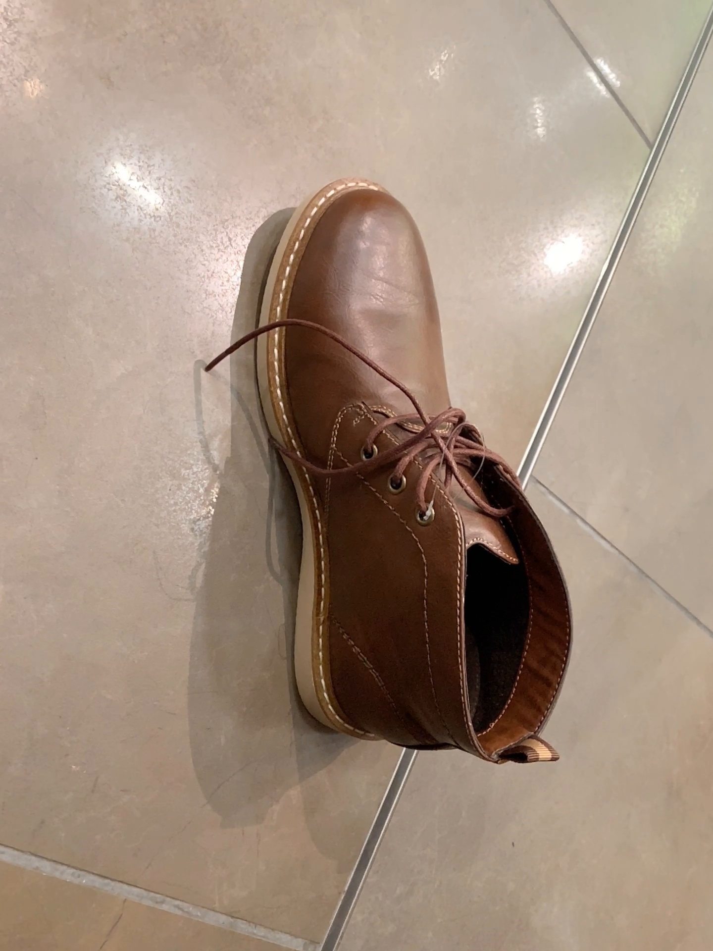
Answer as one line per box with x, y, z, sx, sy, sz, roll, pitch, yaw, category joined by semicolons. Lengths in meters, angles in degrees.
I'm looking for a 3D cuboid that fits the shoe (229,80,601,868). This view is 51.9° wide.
0.024;-0.002;0.353;0.107;0.120;0.294;-5;91;-34;shoe
